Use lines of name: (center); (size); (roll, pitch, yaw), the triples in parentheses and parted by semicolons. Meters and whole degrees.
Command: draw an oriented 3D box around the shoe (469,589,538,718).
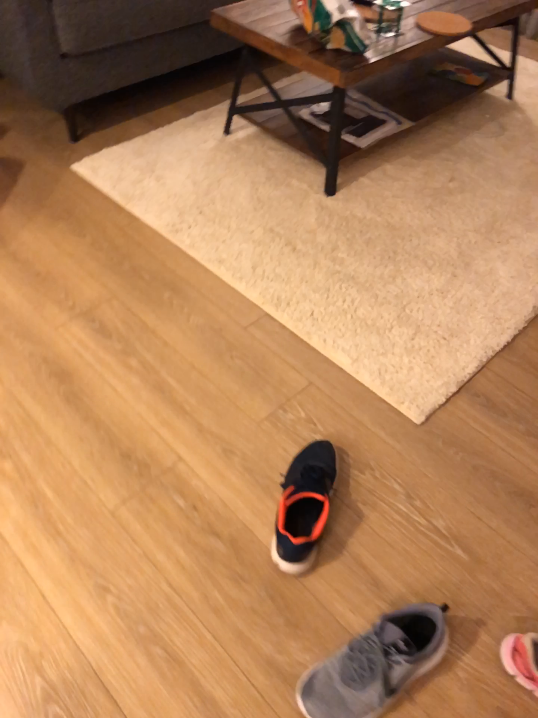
shoe: (0.507, 0.552, 0.999); (0.281, 0.090, 0.140); (37, 57, 27)

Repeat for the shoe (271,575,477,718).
shoe: (0.172, 0.511, 0.999); (0.306, 0.109, 0.131); (-20, 52, -19)

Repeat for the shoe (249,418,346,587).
shoe: (0.062, 0.282, 1.214); (0.130, 0.100, 0.301); (12, 49, 8)
